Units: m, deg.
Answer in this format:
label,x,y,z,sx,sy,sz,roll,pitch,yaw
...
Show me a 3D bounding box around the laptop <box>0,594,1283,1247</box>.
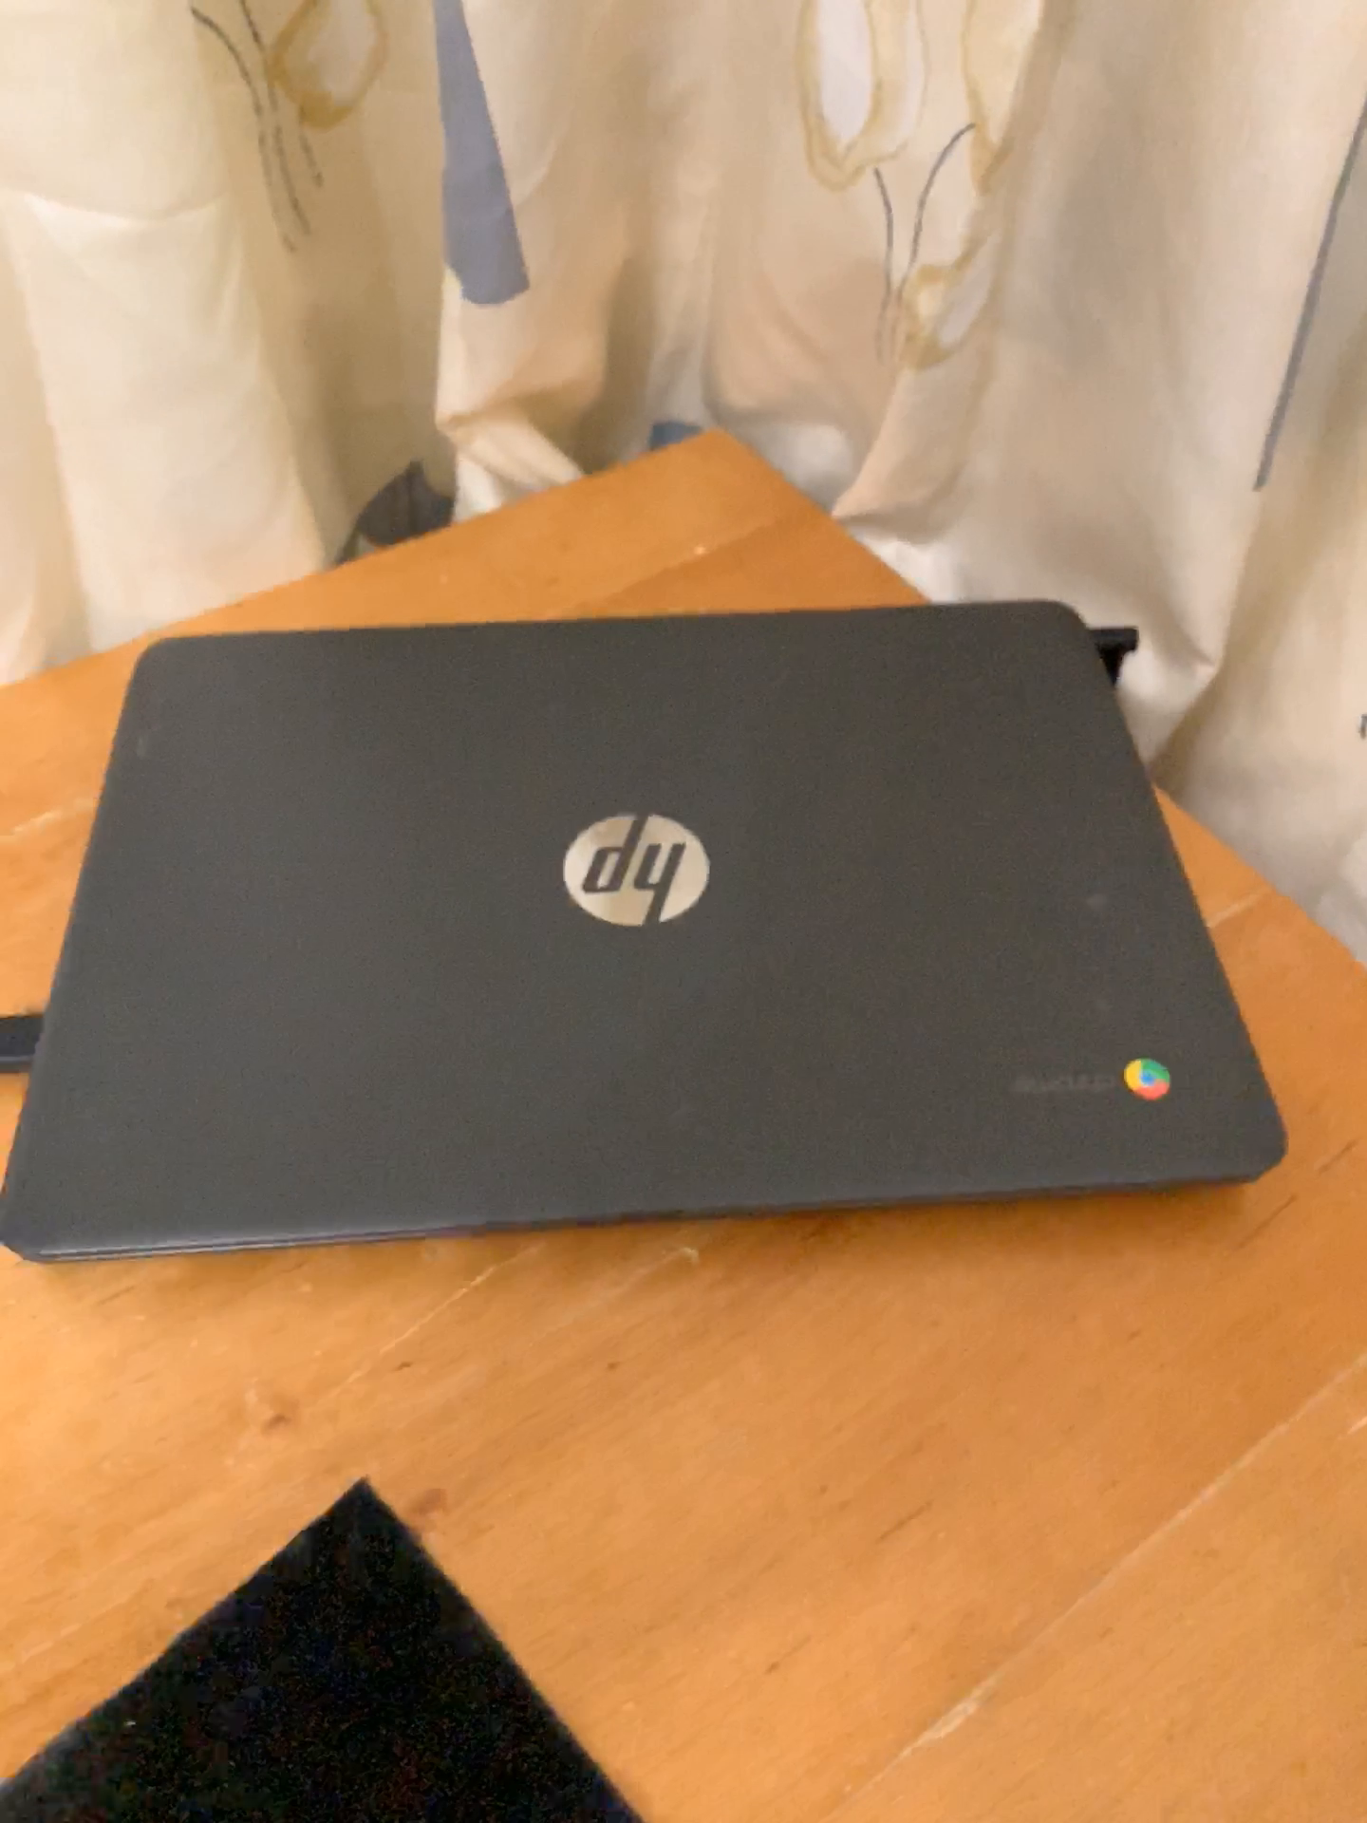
label,x,y,z,sx,sy,sz,roll,pitch,yaw
laptop,-0.013,-0.013,0.347,0.261,0.004,0.186,-3,50,-3
